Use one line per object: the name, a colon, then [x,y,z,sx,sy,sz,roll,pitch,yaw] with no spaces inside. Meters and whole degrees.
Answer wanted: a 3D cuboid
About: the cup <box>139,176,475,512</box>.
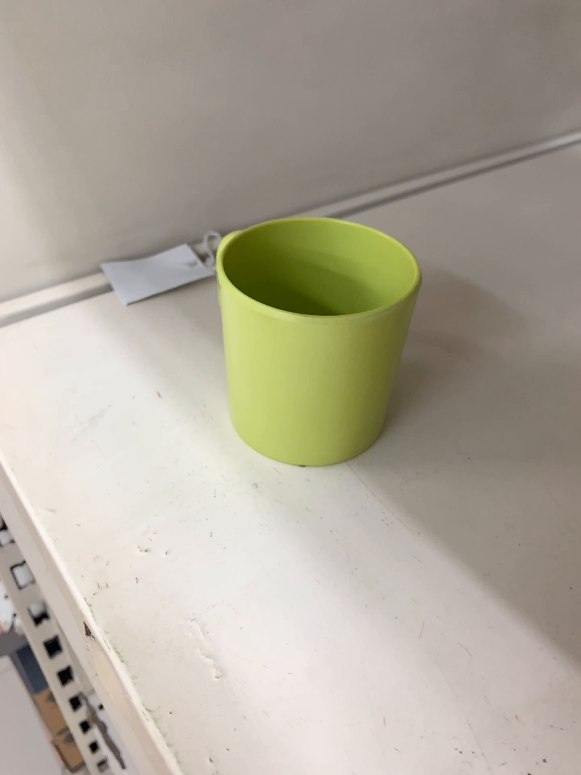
cup: [0.001,-0.024,0.235,0.070,0.069,0.101,-24,46,-29]
